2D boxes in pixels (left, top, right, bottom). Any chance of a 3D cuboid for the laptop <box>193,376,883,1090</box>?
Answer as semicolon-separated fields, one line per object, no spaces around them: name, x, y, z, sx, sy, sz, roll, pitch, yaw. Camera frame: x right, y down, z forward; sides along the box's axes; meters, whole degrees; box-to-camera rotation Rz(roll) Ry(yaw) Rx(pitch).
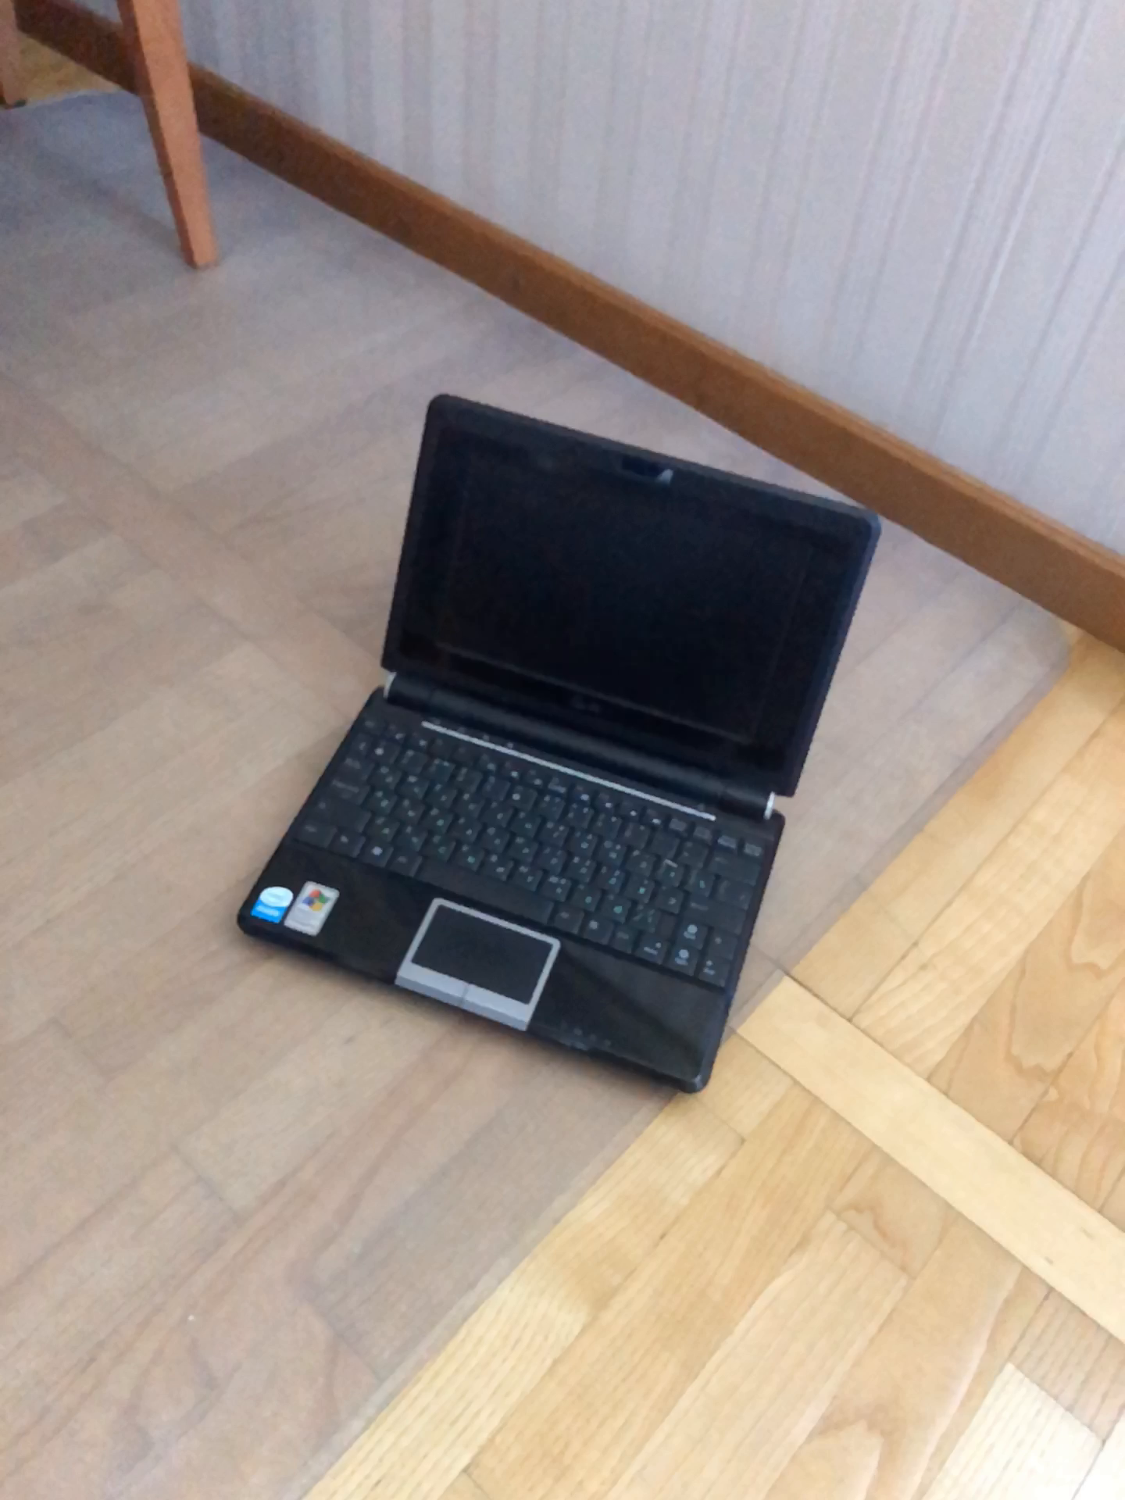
laptop;-0.001;-0.022;0.676;0.263;0.159;0.278;18;52;9
